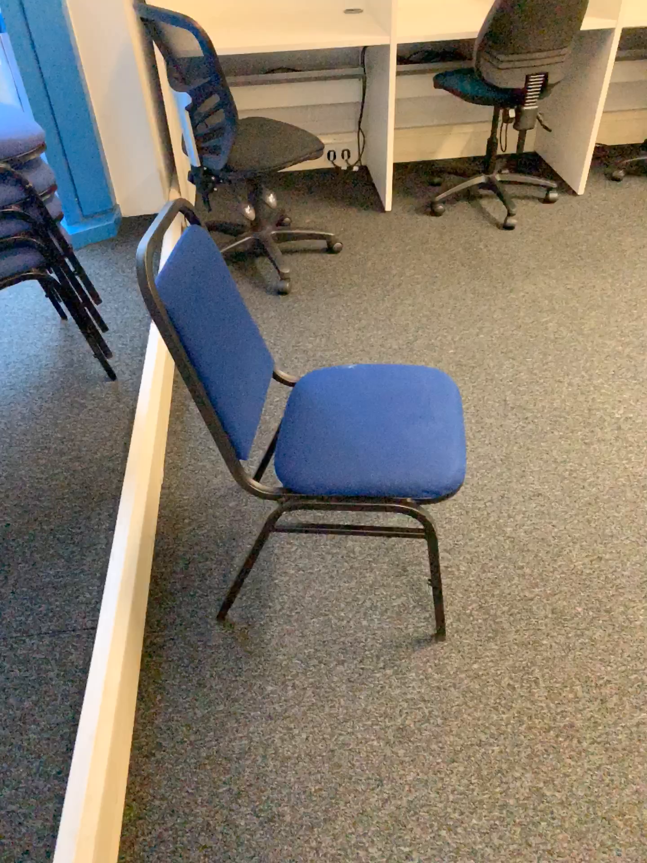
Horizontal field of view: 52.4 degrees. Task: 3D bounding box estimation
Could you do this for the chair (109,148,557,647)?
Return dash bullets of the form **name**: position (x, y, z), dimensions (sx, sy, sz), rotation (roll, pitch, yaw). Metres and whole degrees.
- **chair**: position (0.041, -0.038, 1.293), dimensions (0.574, 0.843, 0.477), rotation (2, 41, 6)
